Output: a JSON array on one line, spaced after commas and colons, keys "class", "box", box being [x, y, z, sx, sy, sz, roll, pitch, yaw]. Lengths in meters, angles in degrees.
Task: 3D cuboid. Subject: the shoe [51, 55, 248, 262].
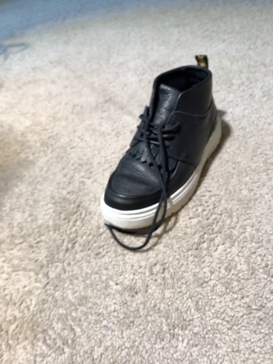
[{"class": "shoe", "box": [0.038, -0.049, 0.396, 0.107, 0.111, 0.263, 22, 54, 30]}]
